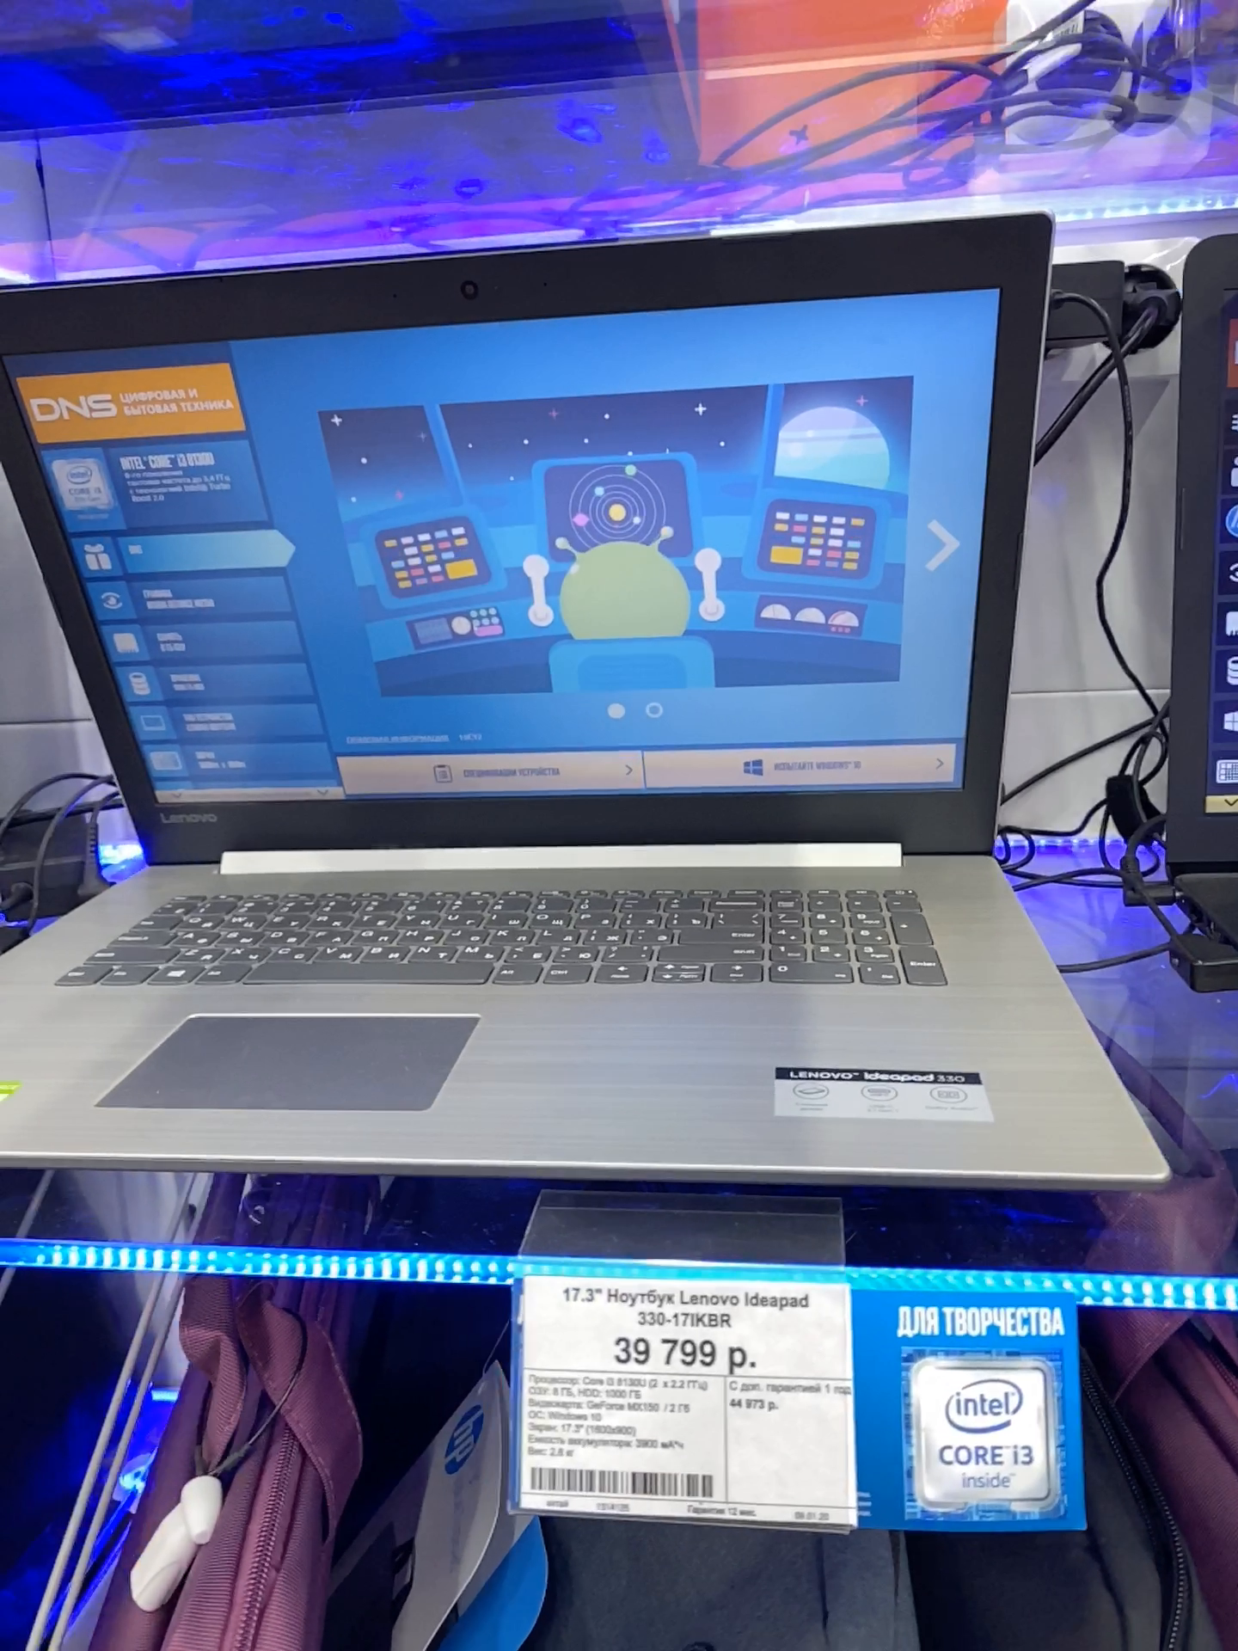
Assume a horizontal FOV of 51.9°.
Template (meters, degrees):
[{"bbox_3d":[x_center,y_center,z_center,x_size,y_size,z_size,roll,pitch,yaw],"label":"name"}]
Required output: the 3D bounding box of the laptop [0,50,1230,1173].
[{"bbox_3d":[-0.057,-0.070,0.456,0.417,0.256,0.280,-1,14,8],"label":"laptop"}]
